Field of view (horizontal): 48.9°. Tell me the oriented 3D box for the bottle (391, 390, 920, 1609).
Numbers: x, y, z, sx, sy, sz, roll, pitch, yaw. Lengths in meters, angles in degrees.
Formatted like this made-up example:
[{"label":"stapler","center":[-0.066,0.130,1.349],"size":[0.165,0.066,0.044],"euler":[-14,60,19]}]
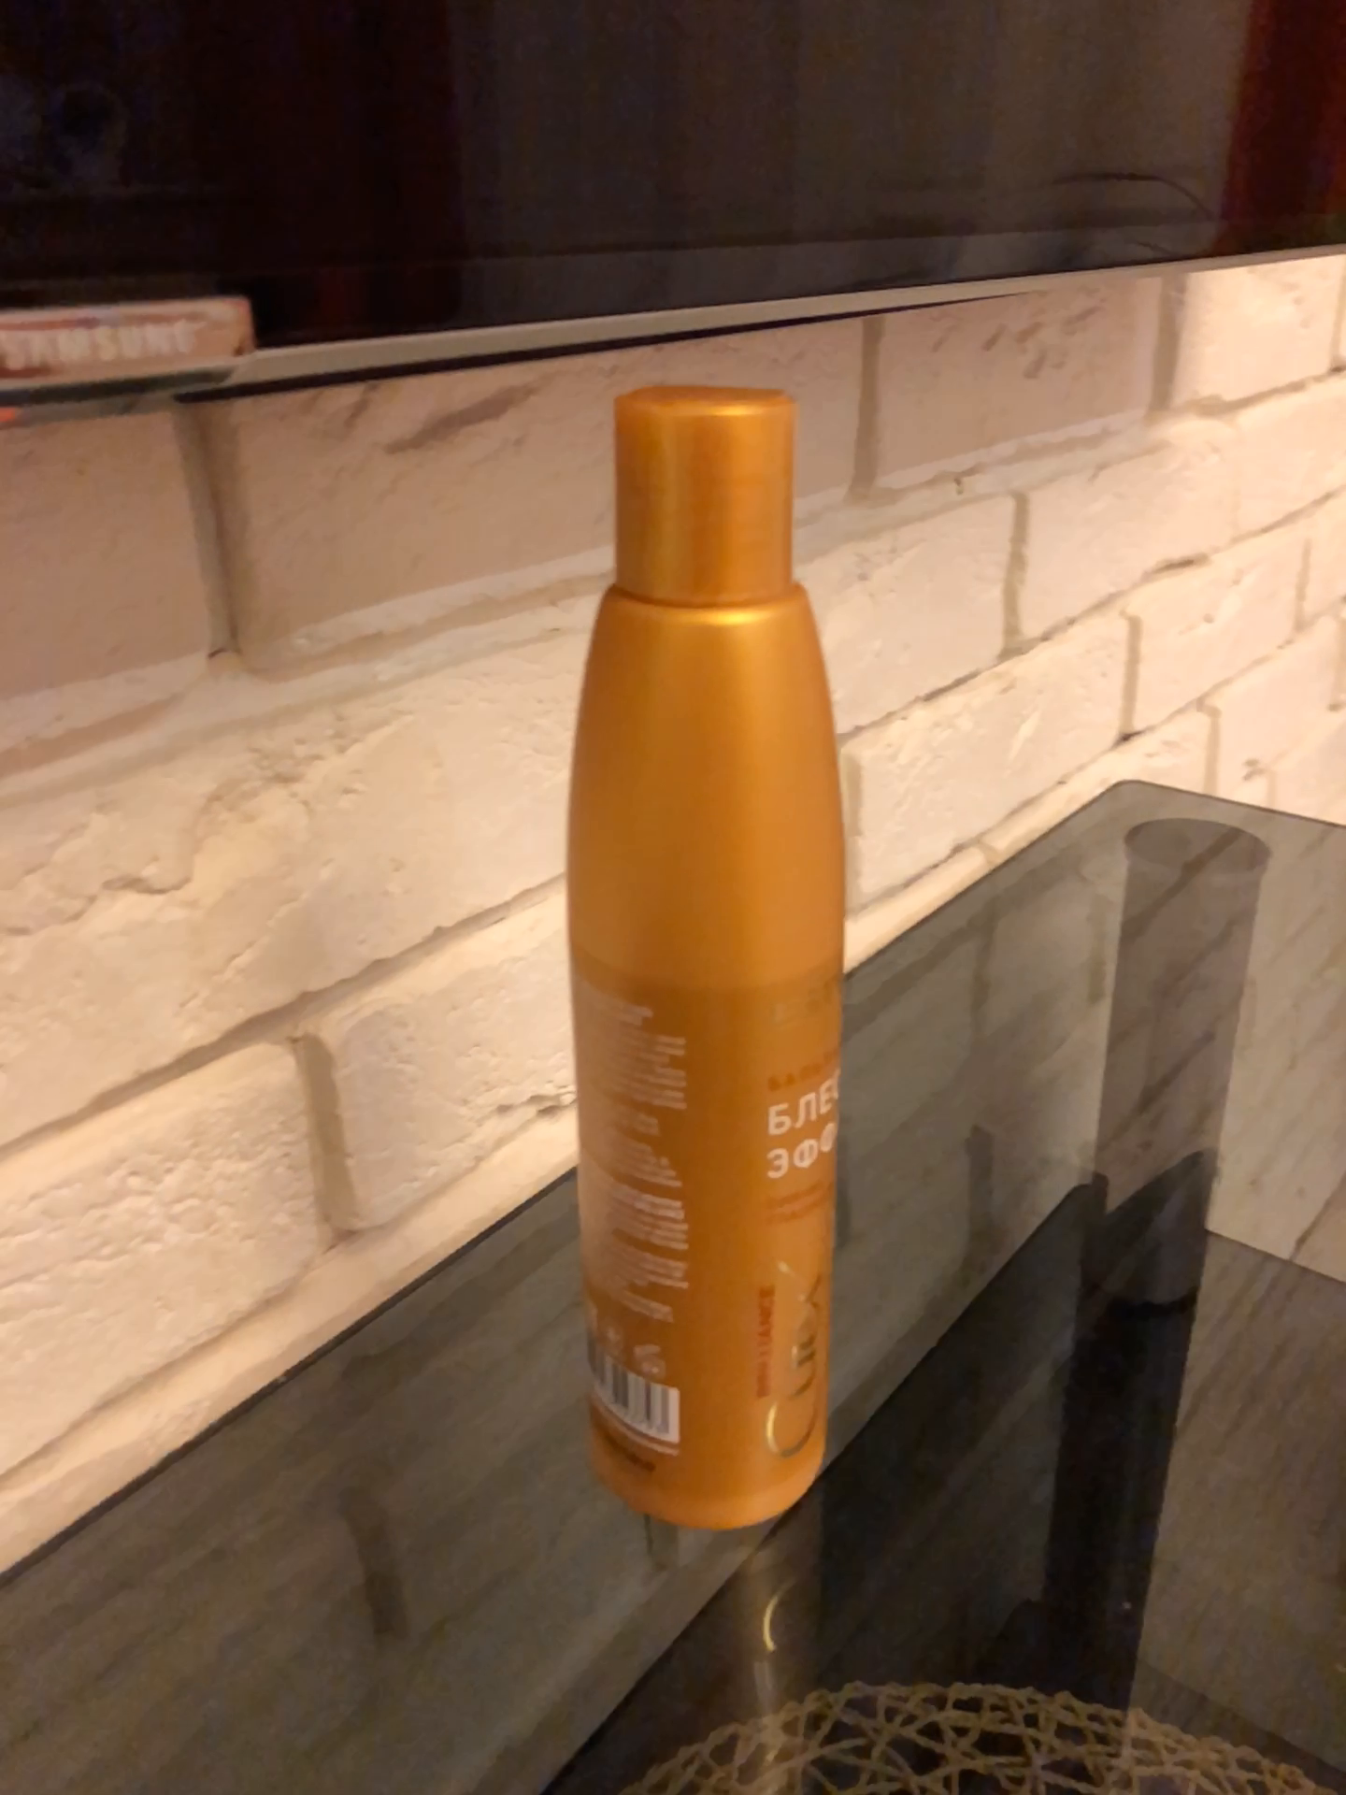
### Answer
[{"label":"bottle","center":[0.000,0.020,0.257],"size":[0.060,0.199,0.050],"euler":[13,28,31]}]
